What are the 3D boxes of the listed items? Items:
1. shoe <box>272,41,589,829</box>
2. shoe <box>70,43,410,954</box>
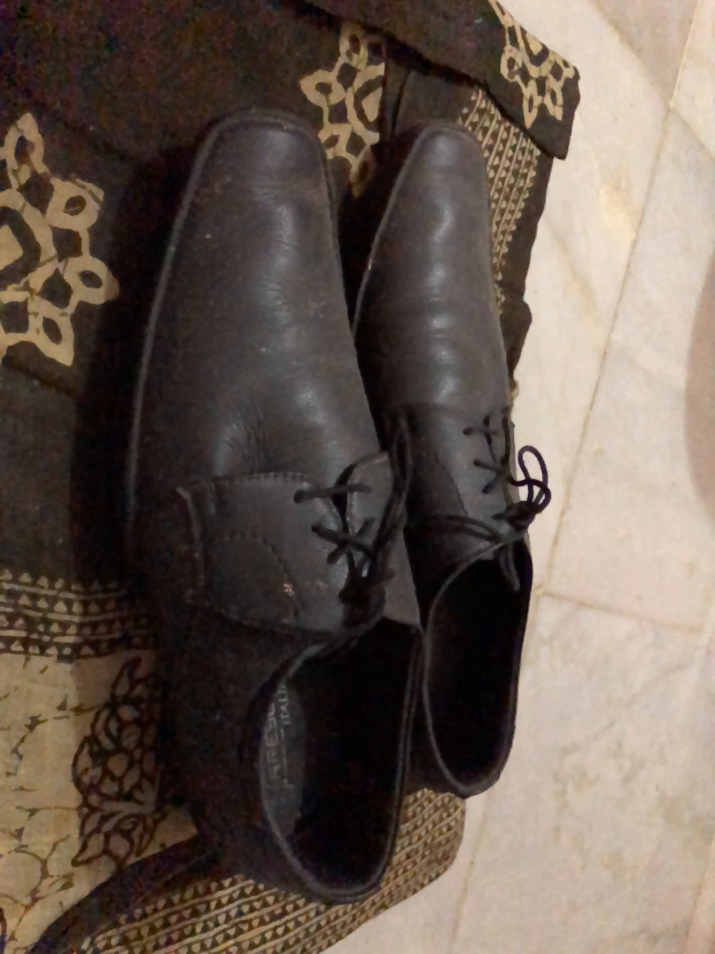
[{"bbox_3d":[0.036,-0.014,0.404,0.110,0.070,0.340,0,99,-43],"label":"shoe"},{"bbox_3d":[-0.047,0.022,0.339,0.110,0.070,0.340,-8,104,-42],"label":"shoe"}]
